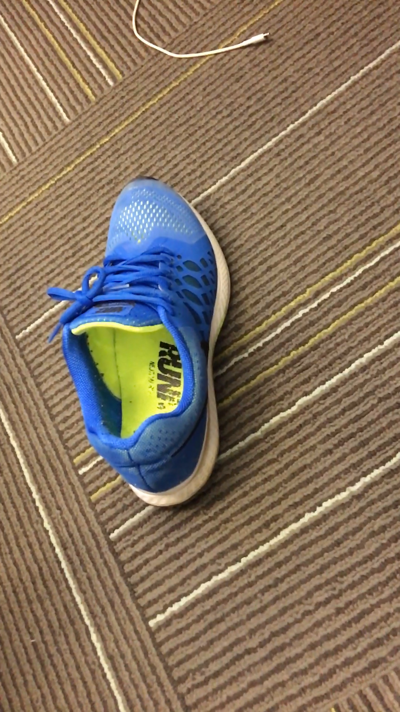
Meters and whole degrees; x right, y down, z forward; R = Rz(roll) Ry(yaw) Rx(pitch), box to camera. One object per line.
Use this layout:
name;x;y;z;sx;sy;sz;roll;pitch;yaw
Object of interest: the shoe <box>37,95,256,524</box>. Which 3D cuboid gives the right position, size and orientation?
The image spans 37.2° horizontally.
shoe;-0.035;-0.028;0.498;0.110;0.150;0.310;-9;69;19
